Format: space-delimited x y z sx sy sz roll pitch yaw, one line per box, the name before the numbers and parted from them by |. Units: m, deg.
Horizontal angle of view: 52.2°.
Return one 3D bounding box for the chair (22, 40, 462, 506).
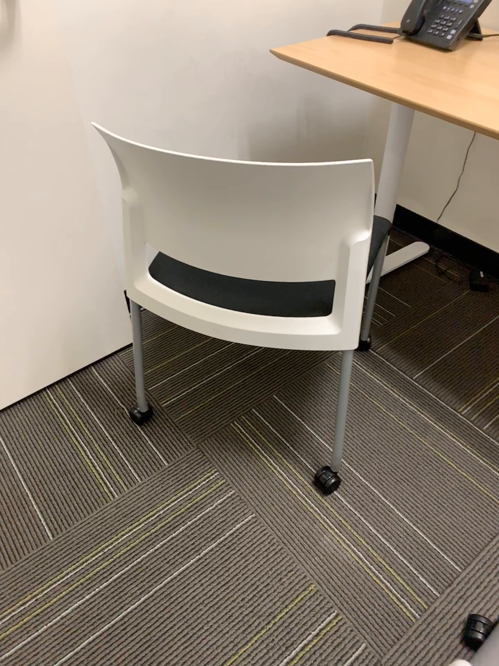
chair | 0.035 -0.151 1.177 0.611 0.756 0.582 16 46 18
